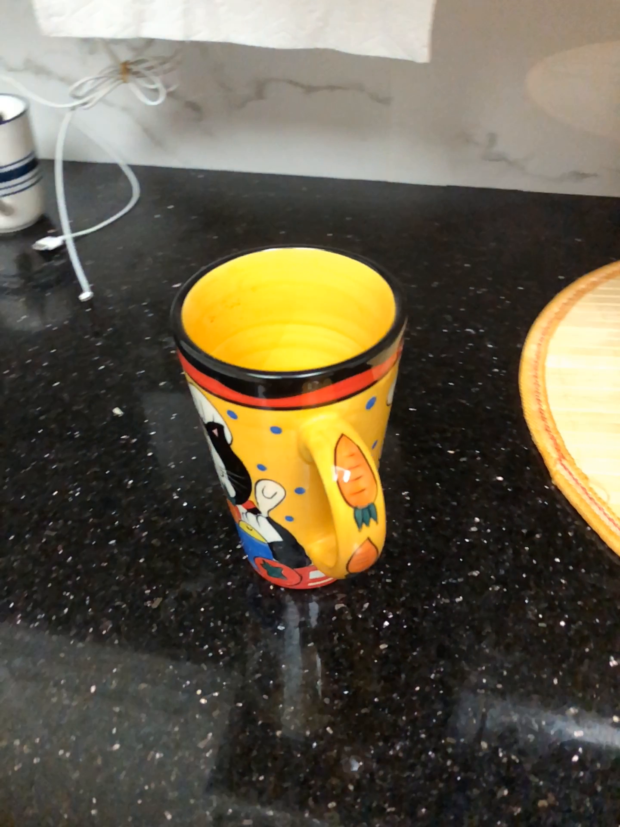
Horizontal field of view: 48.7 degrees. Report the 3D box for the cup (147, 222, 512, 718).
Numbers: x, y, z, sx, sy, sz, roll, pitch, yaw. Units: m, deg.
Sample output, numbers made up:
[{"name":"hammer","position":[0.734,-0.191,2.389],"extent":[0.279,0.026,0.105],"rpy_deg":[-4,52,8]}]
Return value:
[{"name":"cup","position":[0.000,0.021,0.287],"extent":[0.090,0.139,0.131],"rpy_deg":[-14,44,-12]}]
